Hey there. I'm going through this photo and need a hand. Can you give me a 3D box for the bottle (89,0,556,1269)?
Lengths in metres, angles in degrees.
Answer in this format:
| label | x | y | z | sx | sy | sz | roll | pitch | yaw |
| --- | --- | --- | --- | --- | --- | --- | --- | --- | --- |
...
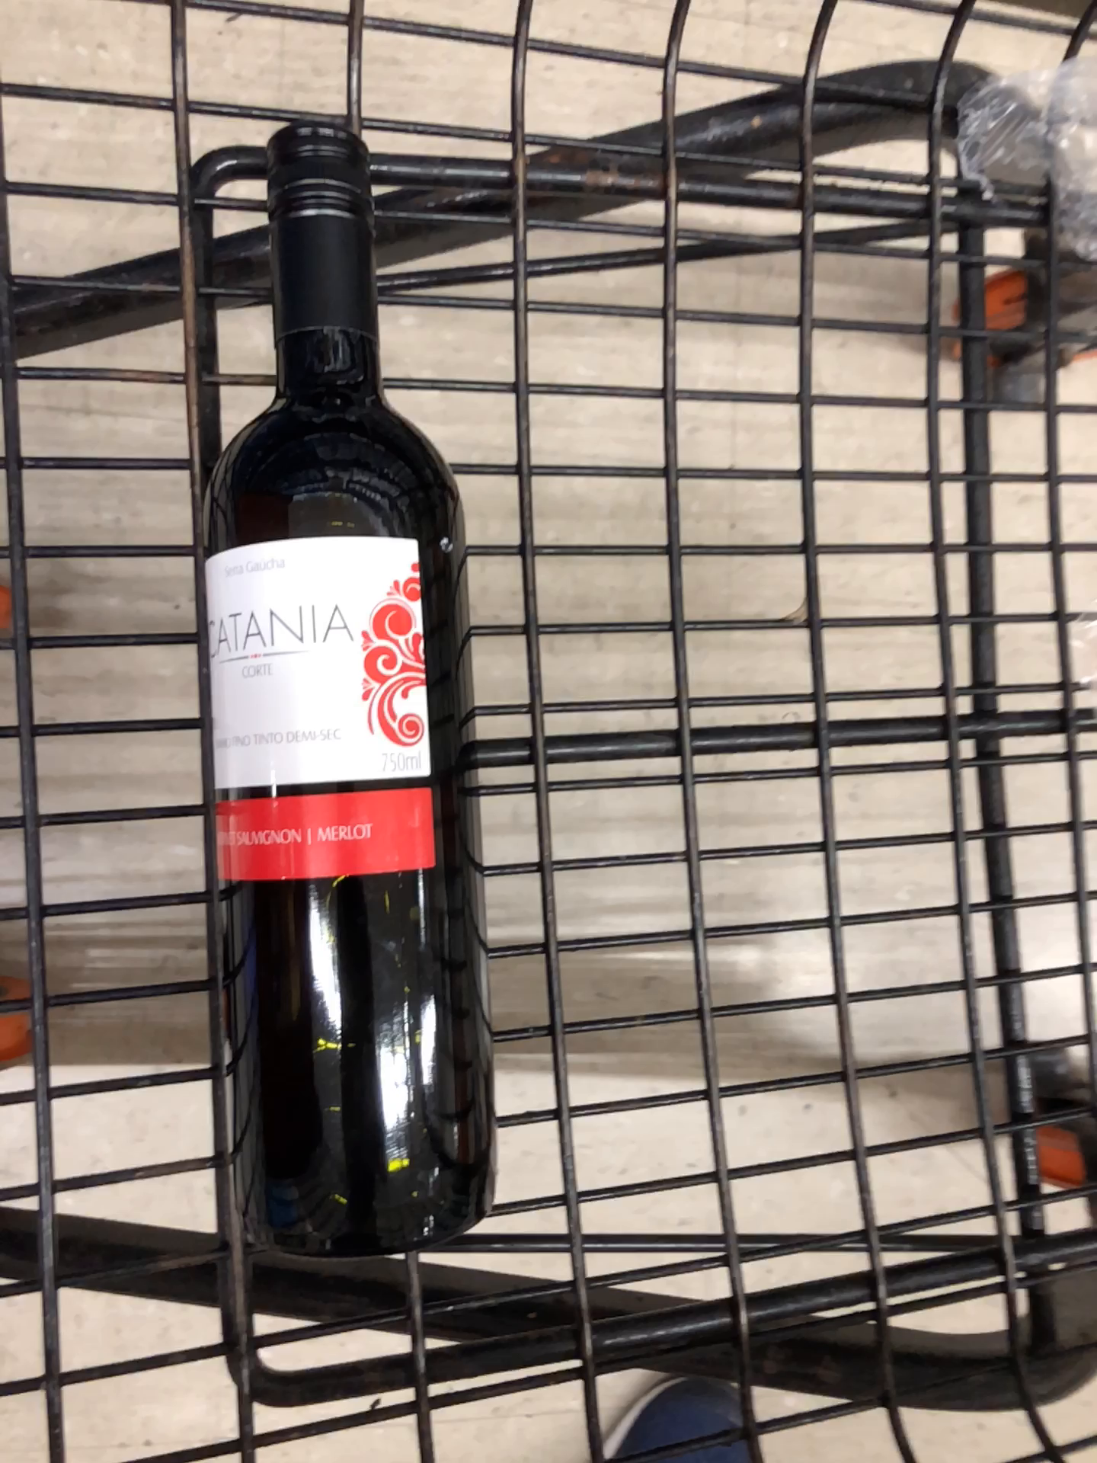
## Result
| label | x | y | z | sx | sy | sz | roll | pitch | yaw |
| --- | --- | --- | --- | --- | --- | --- | --- | --- | --- |
| bottle | -0.060 | -0.025 | 0.330 | 0.080 | 0.070 | 0.300 | -5 | 88 | 29 |
